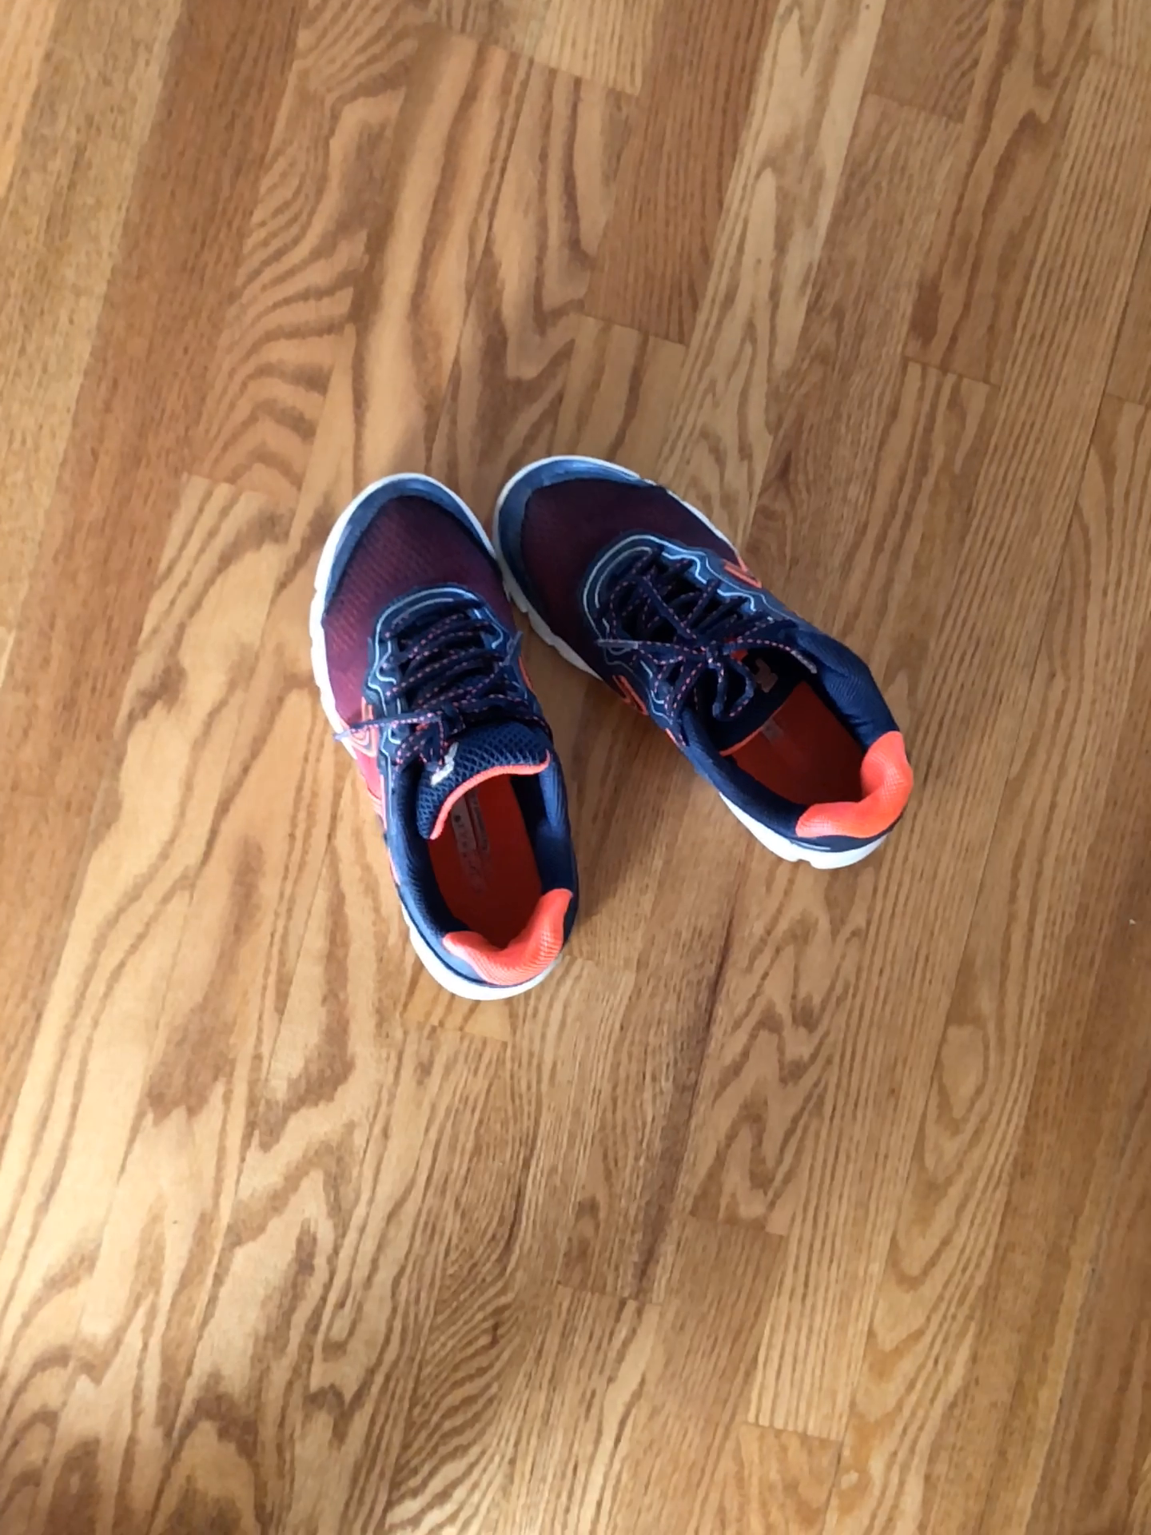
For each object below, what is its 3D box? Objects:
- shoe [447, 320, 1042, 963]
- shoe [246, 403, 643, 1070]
[{"bbox_3d":[0.074,-0.054,0.618,0.116,0.110,0.277,-41,94,-6],"label":"shoe"},{"bbox_3d":[-0.062,-0.014,0.600,0.108,0.110,0.270,-14,91,-7],"label":"shoe"}]
